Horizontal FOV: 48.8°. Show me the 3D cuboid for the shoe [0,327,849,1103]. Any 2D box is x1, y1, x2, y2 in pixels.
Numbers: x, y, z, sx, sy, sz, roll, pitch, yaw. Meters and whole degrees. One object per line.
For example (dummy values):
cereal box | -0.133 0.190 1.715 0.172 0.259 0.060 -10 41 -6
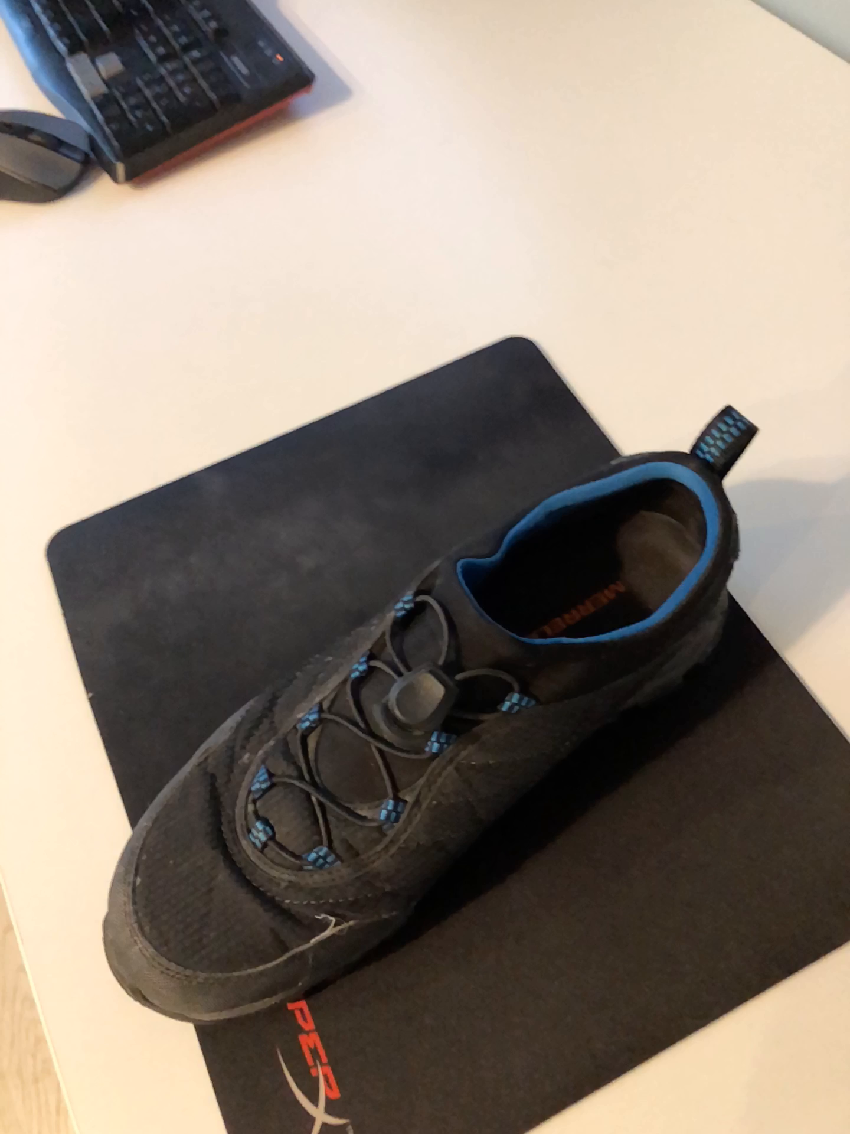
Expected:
shoe | 0.003 0.052 0.374 0.300 0.109 0.131 -33 61 -12
